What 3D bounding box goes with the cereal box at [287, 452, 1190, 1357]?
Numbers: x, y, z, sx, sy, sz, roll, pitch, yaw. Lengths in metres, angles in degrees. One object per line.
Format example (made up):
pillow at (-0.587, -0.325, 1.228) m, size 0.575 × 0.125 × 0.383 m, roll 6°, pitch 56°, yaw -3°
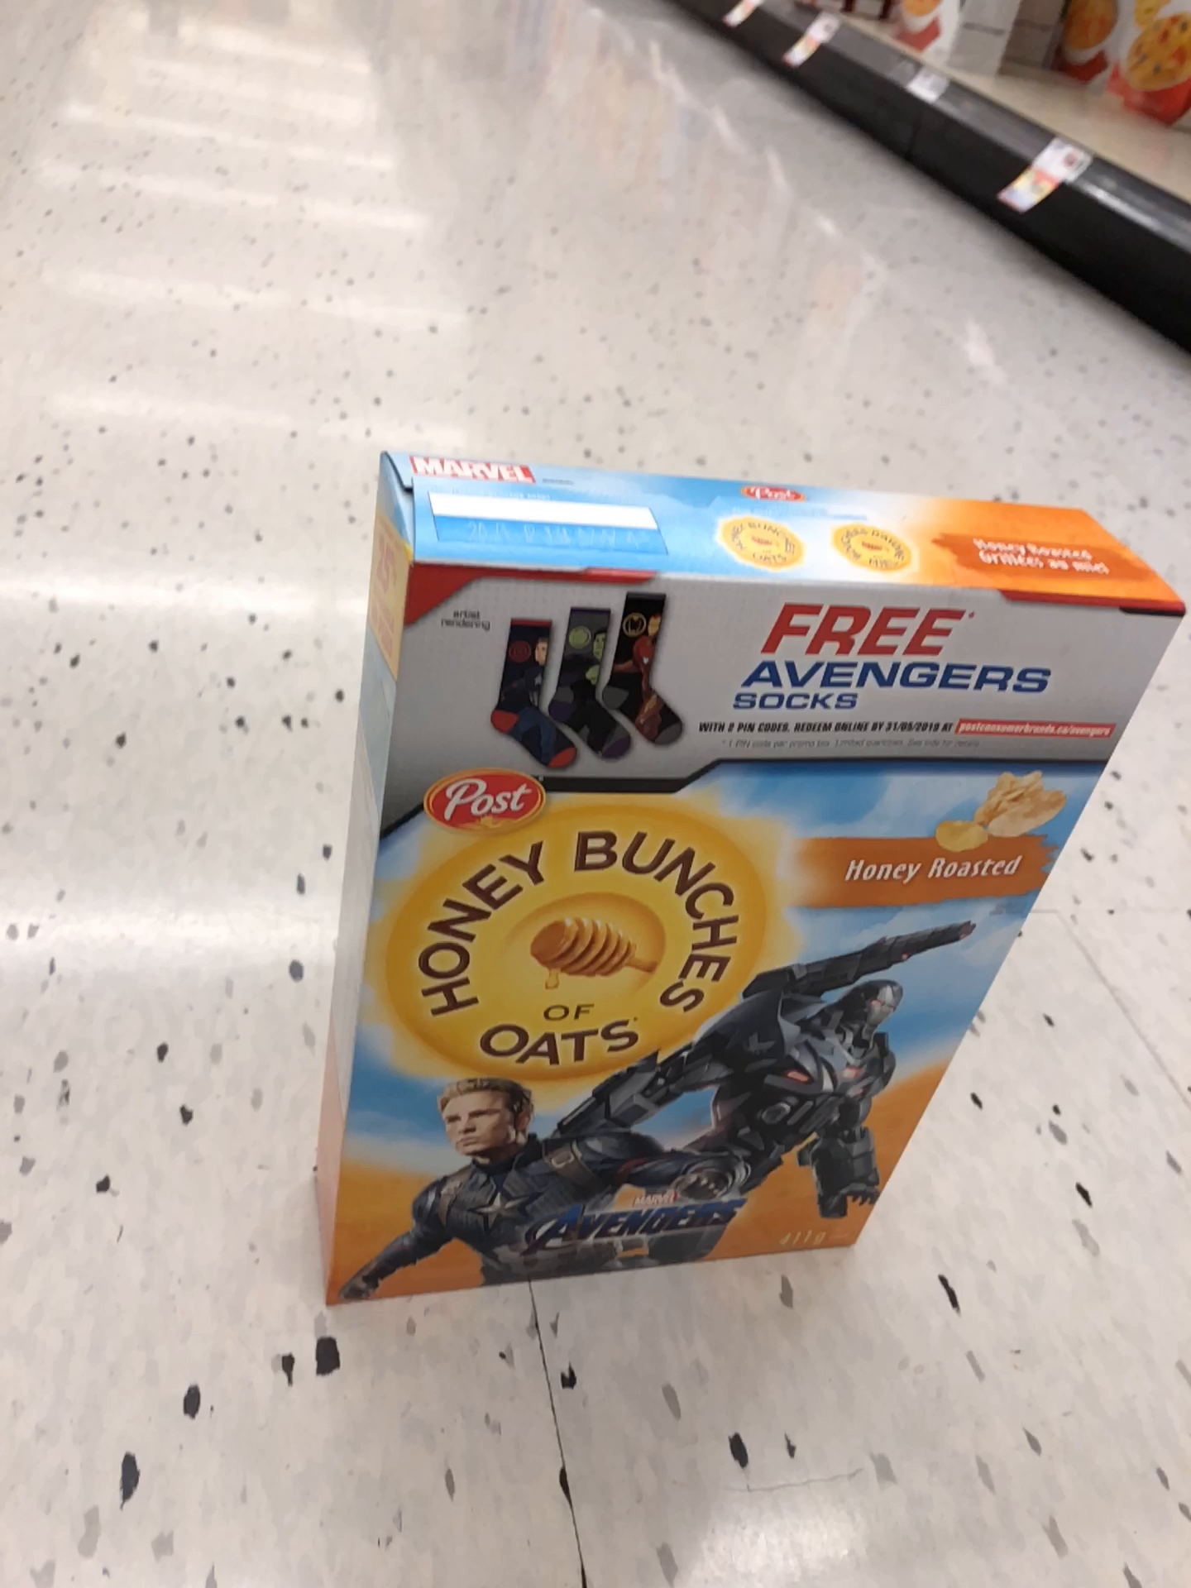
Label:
cereal box at (0.029, 0.046, 0.371) m, size 0.210 × 0.258 × 0.060 m, roll 0°, pitch 38°, yaw -18°
